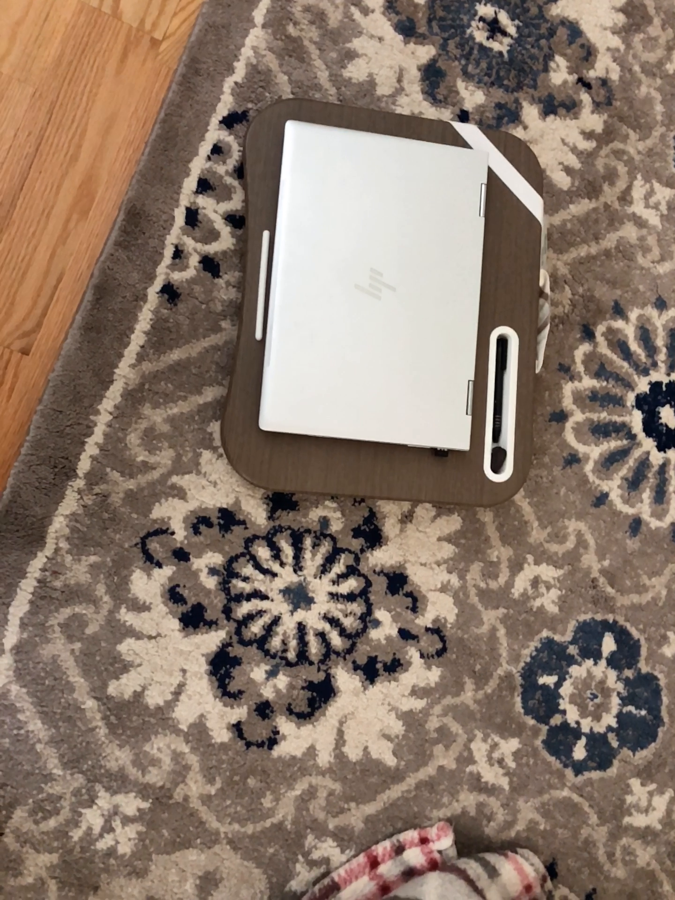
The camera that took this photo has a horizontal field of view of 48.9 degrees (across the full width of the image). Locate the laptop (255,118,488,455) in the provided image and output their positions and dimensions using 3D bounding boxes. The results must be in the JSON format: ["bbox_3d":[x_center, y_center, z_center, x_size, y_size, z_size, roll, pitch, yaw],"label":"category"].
[{"bbox_3d":[0.044,-0.184,0.850,0.241,0.026,0.354,6,83,-11],"label":"laptop"}]
